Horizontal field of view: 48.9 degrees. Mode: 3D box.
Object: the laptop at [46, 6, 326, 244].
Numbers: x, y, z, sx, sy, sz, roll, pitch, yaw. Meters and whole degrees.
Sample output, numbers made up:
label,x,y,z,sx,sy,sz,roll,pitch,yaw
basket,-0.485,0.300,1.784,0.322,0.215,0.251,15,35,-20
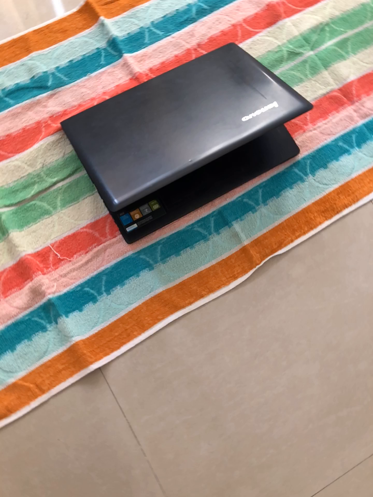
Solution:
label,x,y,z,sx,sy,sz,roll,pitch,yaw
laptop,-0.003,-0.212,0.708,0.364,0.126,0.253,-28,79,-9
